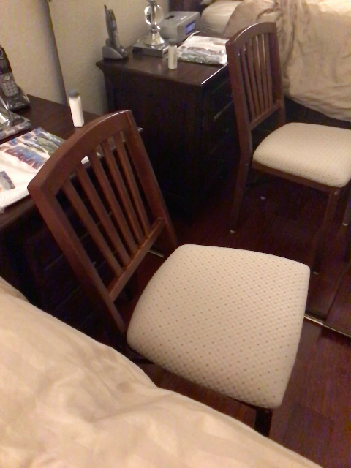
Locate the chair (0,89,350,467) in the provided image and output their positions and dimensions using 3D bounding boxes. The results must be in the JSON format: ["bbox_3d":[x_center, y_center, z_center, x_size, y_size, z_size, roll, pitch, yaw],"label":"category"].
[{"bbox_3d":[0.005,0.243,1.121,0.690,1.032,0.625,13,43,15],"label":"chair"}]
